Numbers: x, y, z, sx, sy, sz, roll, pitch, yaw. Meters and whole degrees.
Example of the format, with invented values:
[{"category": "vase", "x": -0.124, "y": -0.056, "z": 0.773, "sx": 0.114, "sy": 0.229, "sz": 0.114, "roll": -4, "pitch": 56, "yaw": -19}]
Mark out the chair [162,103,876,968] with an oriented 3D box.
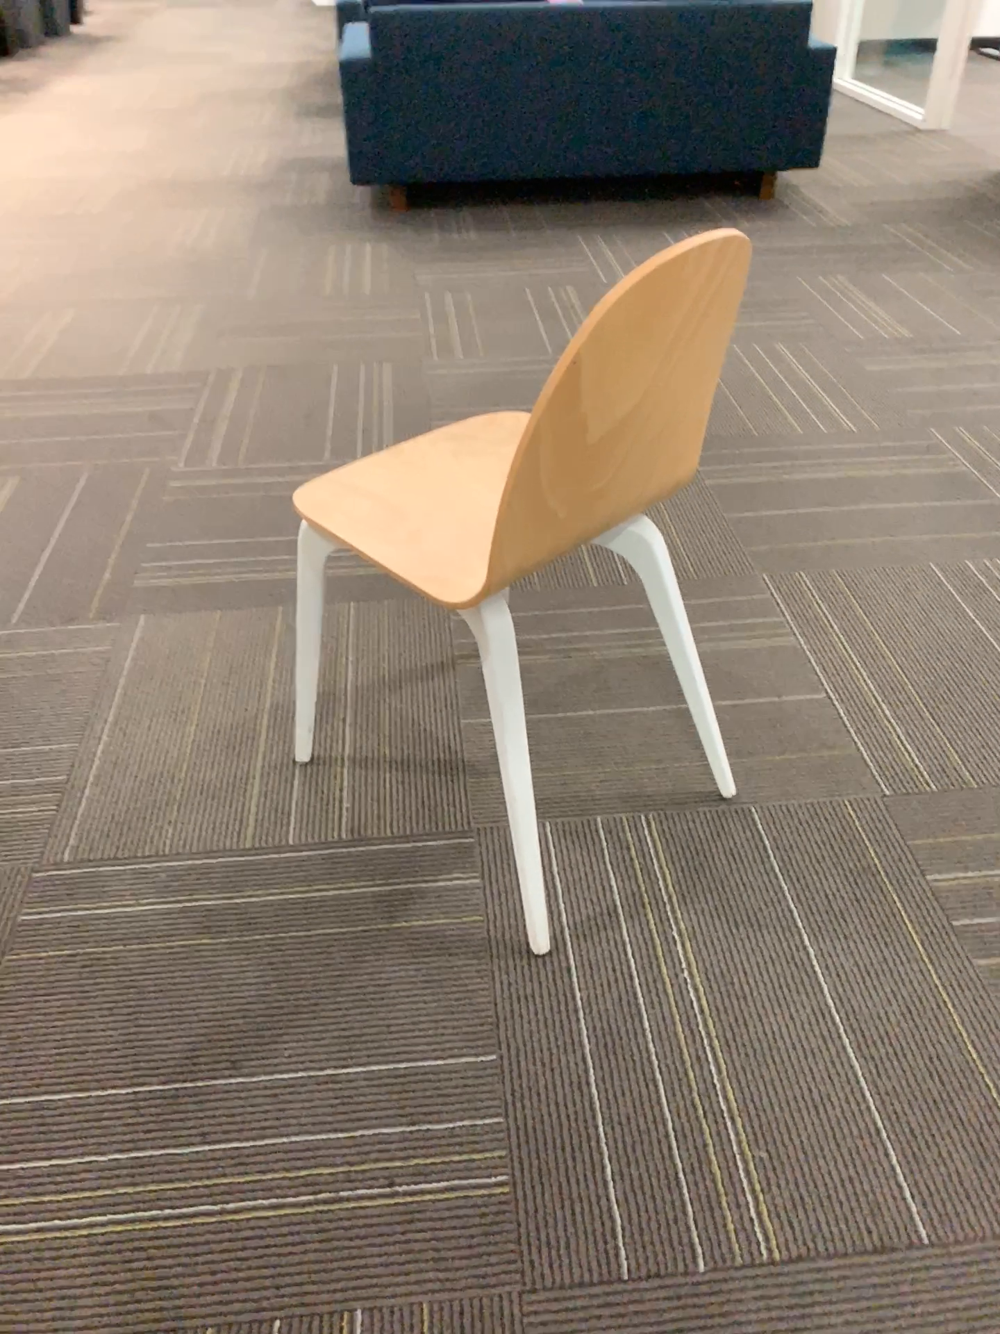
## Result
[{"category": "chair", "x": 0.008, "y": -0.184, "z": 1.289, "sx": 0.461, "sy": 0.825, "sz": 0.572, "roll": -30, "pitch": 46, "yaw": -33}]
